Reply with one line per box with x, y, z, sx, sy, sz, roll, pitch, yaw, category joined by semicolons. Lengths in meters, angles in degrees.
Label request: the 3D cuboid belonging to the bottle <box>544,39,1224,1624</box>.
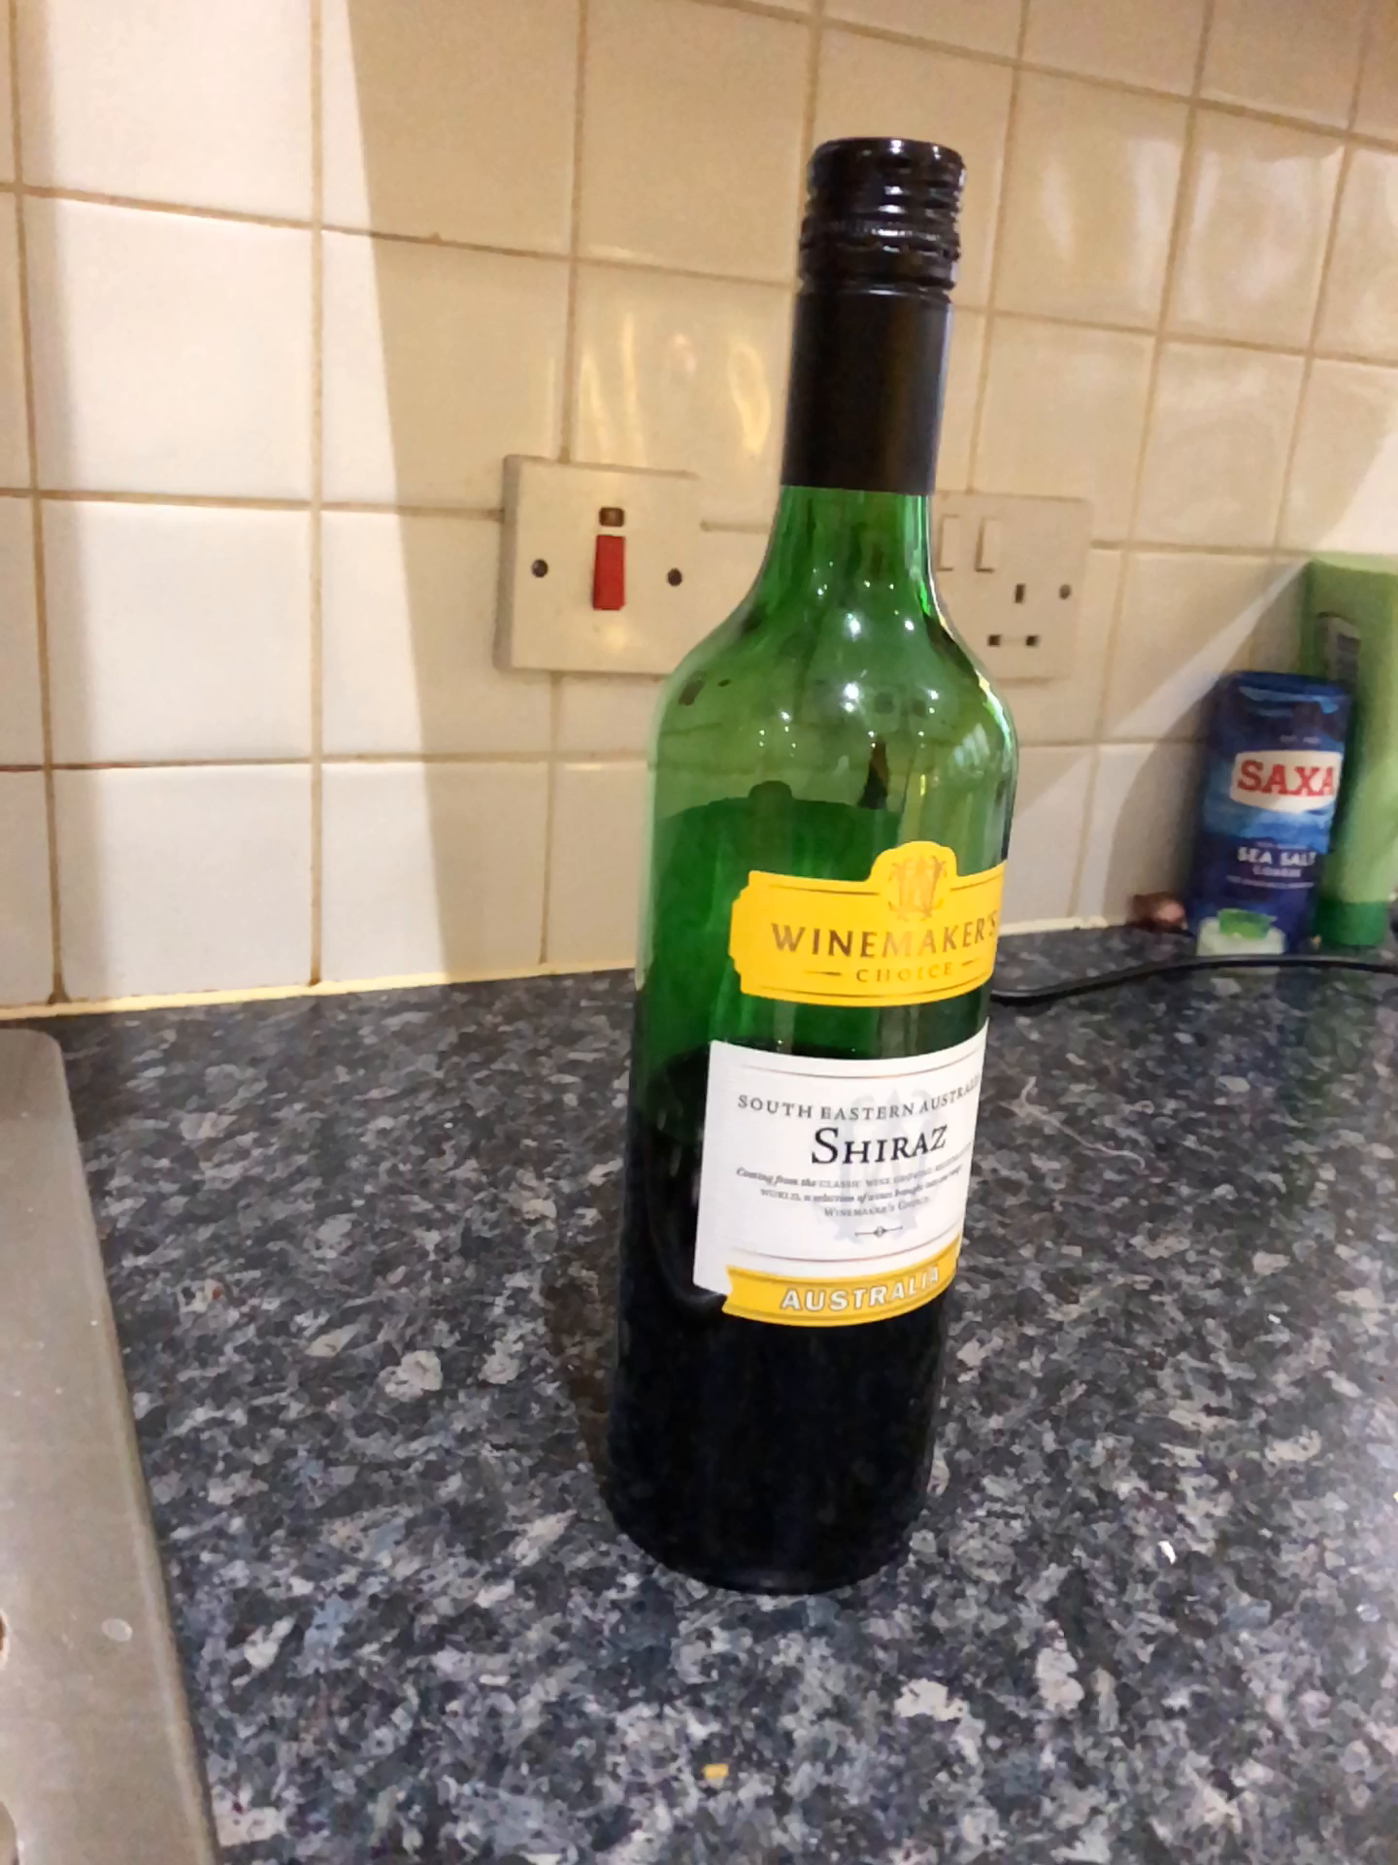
0.025;-0.012;0.317;0.080;0.279;0.080;4;17;-1;bottle
